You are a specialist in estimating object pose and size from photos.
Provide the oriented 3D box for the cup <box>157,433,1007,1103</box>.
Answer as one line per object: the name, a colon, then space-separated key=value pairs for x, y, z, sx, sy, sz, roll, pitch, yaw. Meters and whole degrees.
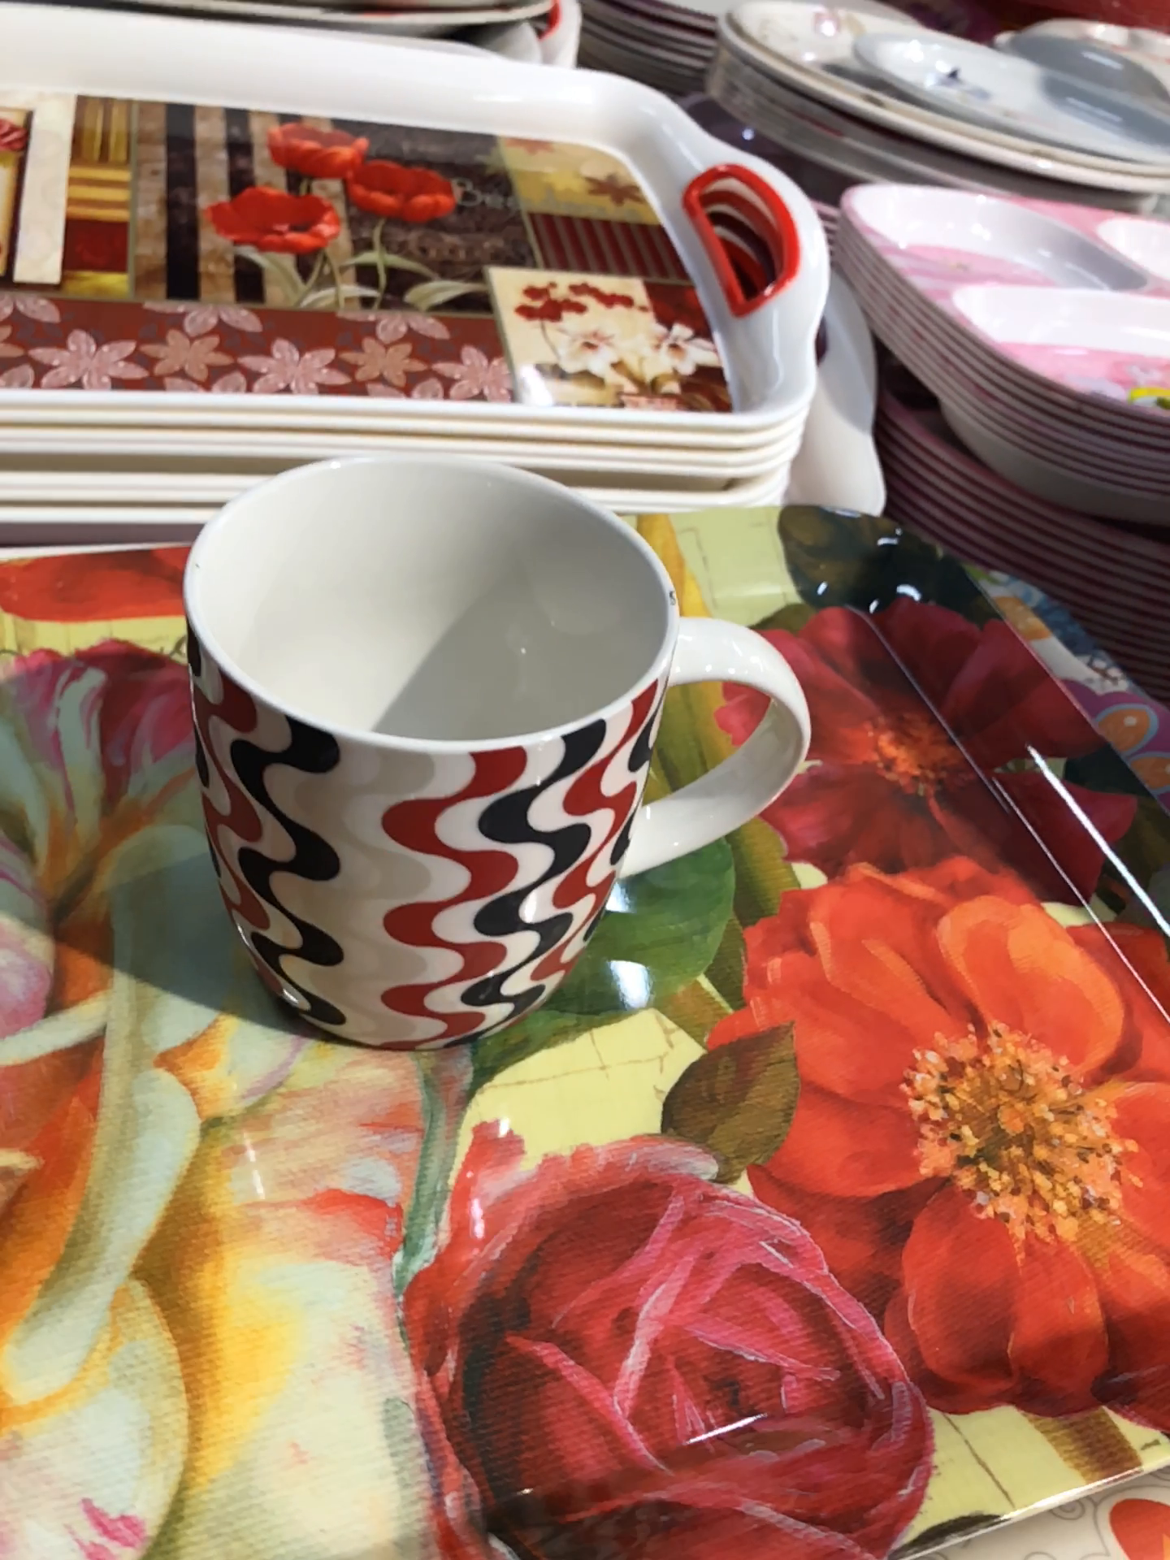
cup: x=-0.010 y=-0.009 z=0.255 sx=0.130 sy=0.079 sz=0.090 roll=-6 pitch=43 yaw=-19
